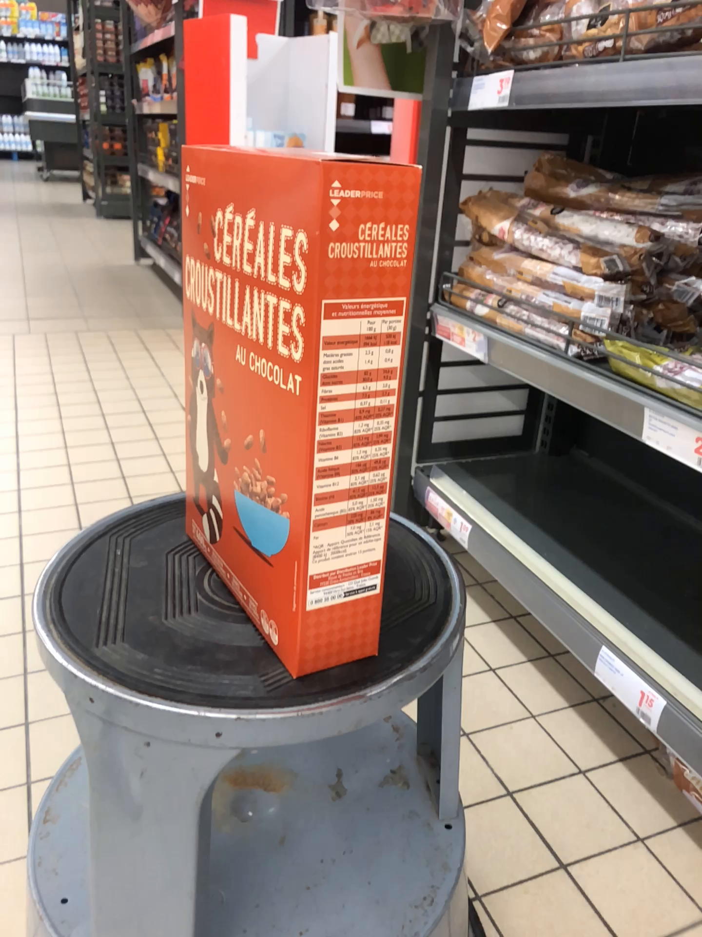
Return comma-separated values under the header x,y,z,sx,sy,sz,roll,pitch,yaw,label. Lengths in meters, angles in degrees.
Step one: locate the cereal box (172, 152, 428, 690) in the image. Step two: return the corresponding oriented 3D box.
x,y,z,sx,sy,sz,roll,pitch,yaw,label
-0.044,-0.041,0.452,0.060,0.259,0.190,-8,25,-27,cereal box
